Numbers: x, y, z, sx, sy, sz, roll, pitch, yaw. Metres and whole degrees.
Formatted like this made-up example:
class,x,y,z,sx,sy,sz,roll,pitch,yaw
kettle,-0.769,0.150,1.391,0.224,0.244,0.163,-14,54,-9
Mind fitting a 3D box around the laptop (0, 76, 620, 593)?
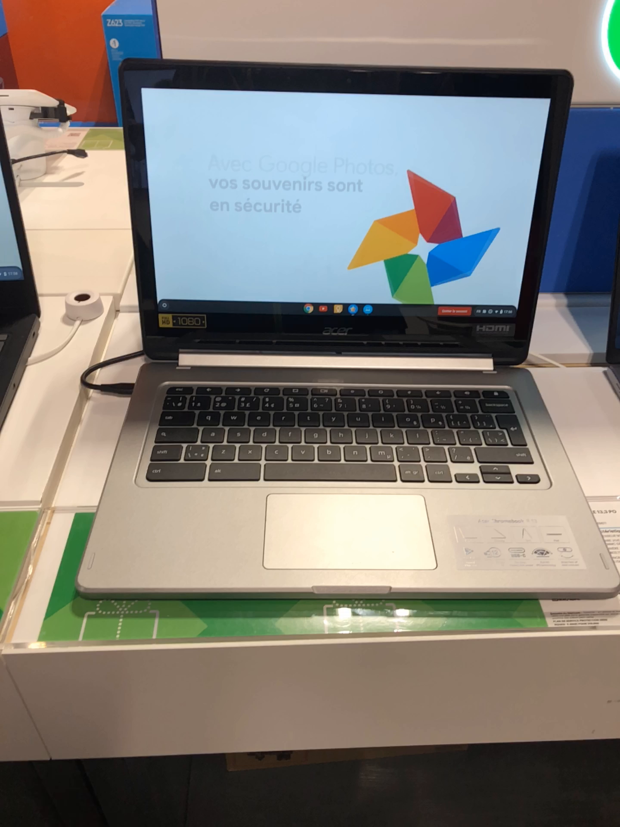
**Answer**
class,x,y,z,sx,sy,sz,roll,pitch,yaw
laptop,0.024,-0.057,0.423,0.317,0.226,0.240,0,38,-1
